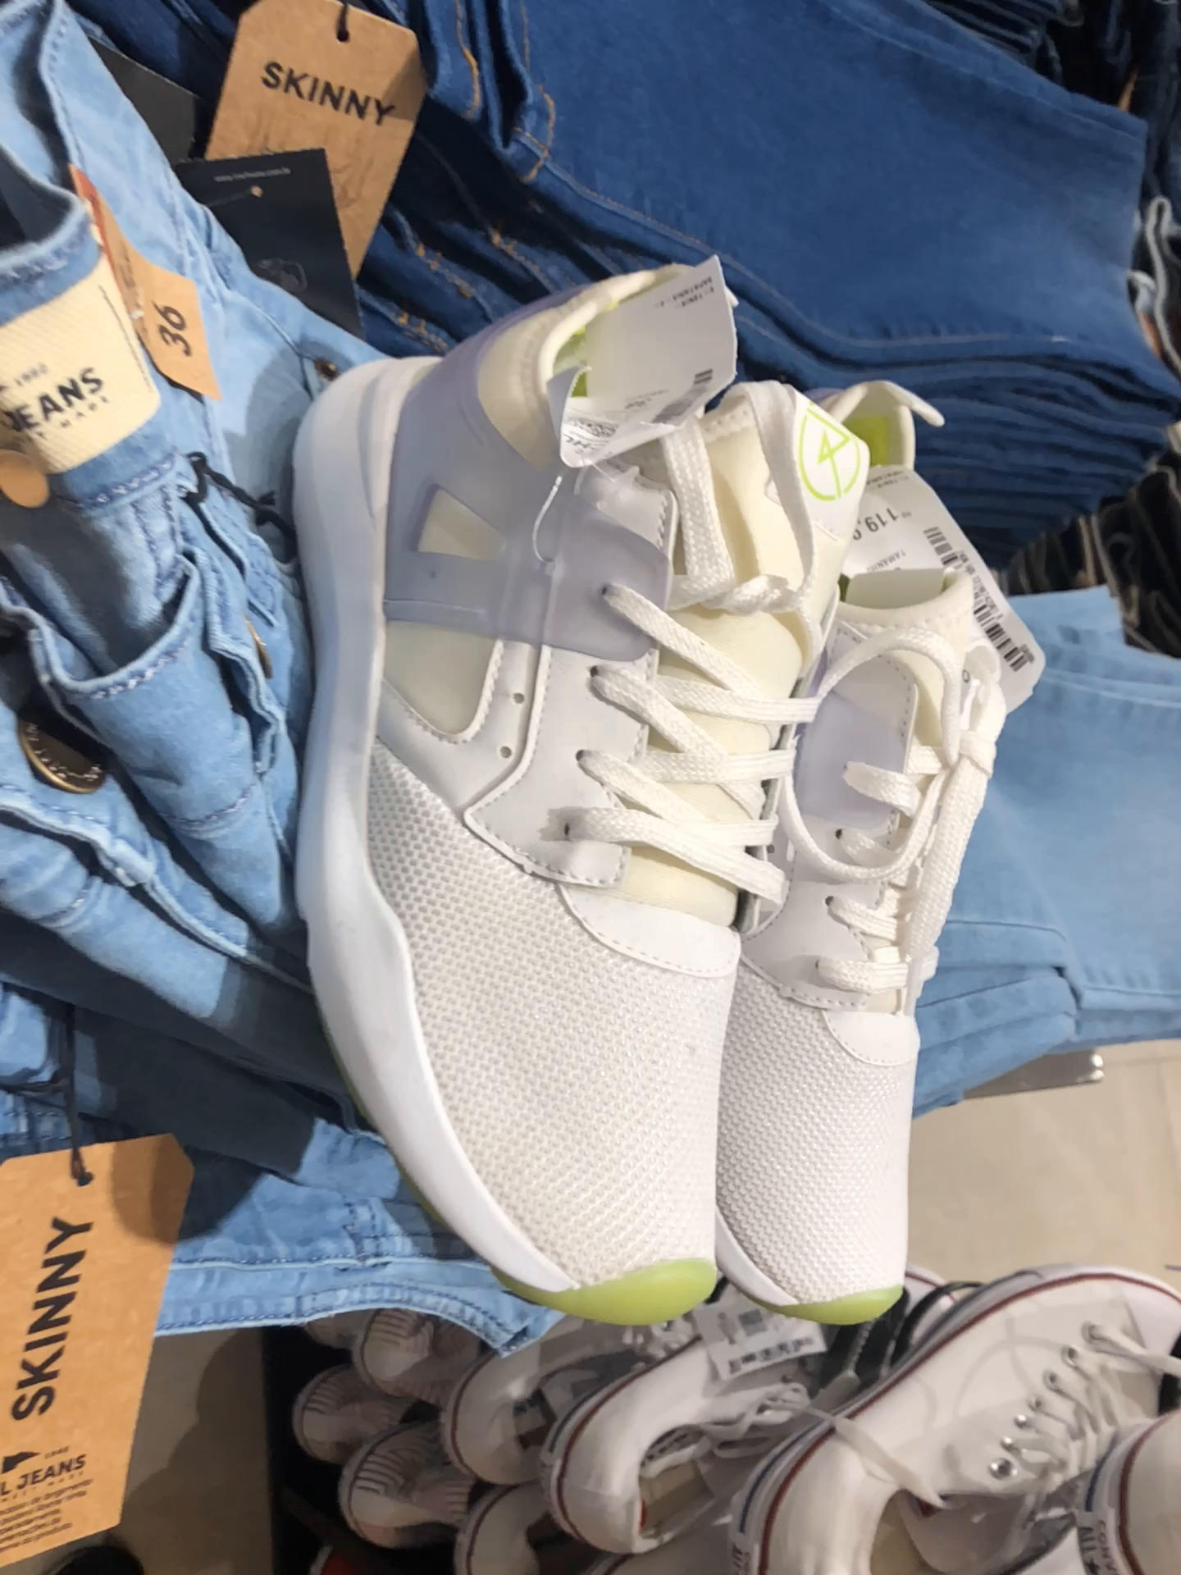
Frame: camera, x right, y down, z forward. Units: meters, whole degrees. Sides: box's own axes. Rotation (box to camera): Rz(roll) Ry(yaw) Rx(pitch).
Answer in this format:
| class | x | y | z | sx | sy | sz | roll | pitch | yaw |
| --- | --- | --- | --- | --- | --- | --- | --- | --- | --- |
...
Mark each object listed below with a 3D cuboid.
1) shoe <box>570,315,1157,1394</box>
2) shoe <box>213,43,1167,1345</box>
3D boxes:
| class | x | y | z | sx | sy | sz | roll | pitch | yaw |
| --- | --- | --- | --- | --- | --- | --- | --- | --- | --- |
| shoe | 0.068 | 0.017 | 0.363 | 0.100 | 0.090 | 0.250 | 6 | 74 | -35 |
| shoe | 0.001 | -0.025 | 0.308 | 0.110 | 0.119 | 0.260 | 21 | 44 | -43 |
